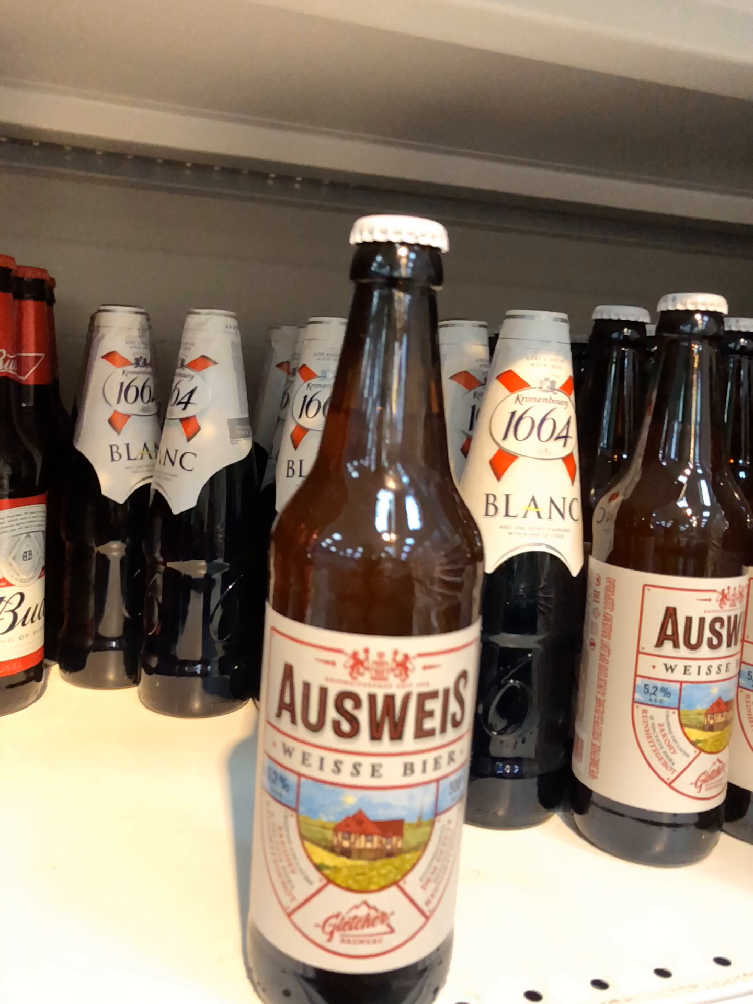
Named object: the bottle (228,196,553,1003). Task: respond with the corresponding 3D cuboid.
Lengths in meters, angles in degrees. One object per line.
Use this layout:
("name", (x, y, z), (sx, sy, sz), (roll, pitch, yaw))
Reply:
("bottle", (-0.001, 0.039, 0.273), (0.080, 0.250, 0.070), (3, 7, -4))
